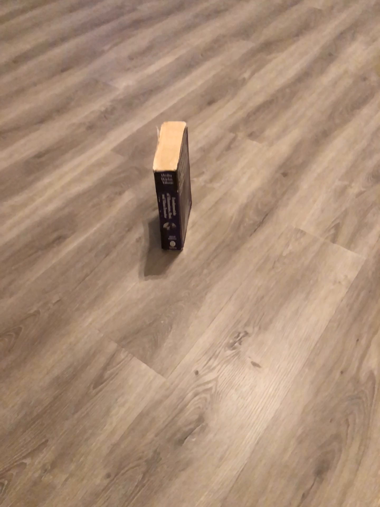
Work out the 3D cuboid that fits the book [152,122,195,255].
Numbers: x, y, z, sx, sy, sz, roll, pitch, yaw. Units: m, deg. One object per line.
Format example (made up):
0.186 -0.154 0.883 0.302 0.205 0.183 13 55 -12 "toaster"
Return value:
-0.027 -0.128 0.861 0.060 0.219 0.155 0 49 4 "book"
